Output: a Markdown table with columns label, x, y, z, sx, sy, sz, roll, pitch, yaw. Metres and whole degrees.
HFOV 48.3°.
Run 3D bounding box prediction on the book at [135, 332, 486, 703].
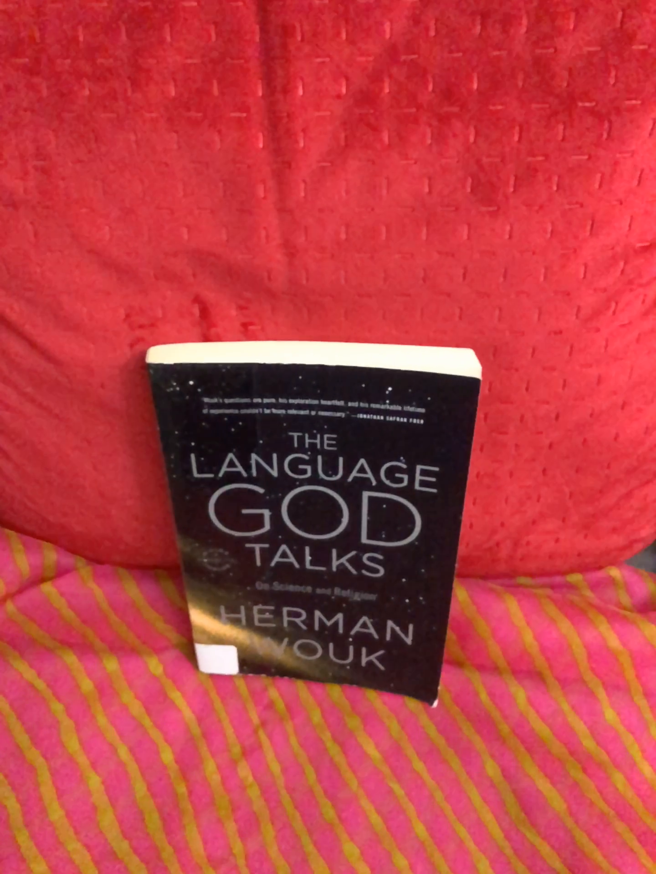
| label | x | y | z | sx | sy | sz | roll | pitch | yaw |
| --- | --- | --- | --- | --- | --- | --- | --- | --- | --- |
| book | -0.006 | 0.049 | 0.355 | 0.138 | 0.199 | 0.030 | 4 | 36 | 6 |
